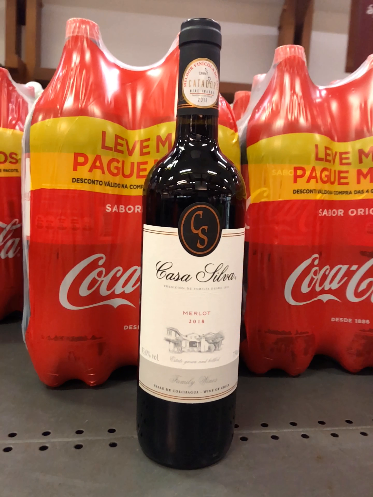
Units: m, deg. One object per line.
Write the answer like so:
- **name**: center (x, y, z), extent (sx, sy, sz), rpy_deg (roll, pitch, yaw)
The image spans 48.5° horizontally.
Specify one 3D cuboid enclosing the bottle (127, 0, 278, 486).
- **bottle**: center (0.003, -0.001, 0.294), extent (0.080, 0.309, 0.070), rpy_deg (2, 7, -8)
